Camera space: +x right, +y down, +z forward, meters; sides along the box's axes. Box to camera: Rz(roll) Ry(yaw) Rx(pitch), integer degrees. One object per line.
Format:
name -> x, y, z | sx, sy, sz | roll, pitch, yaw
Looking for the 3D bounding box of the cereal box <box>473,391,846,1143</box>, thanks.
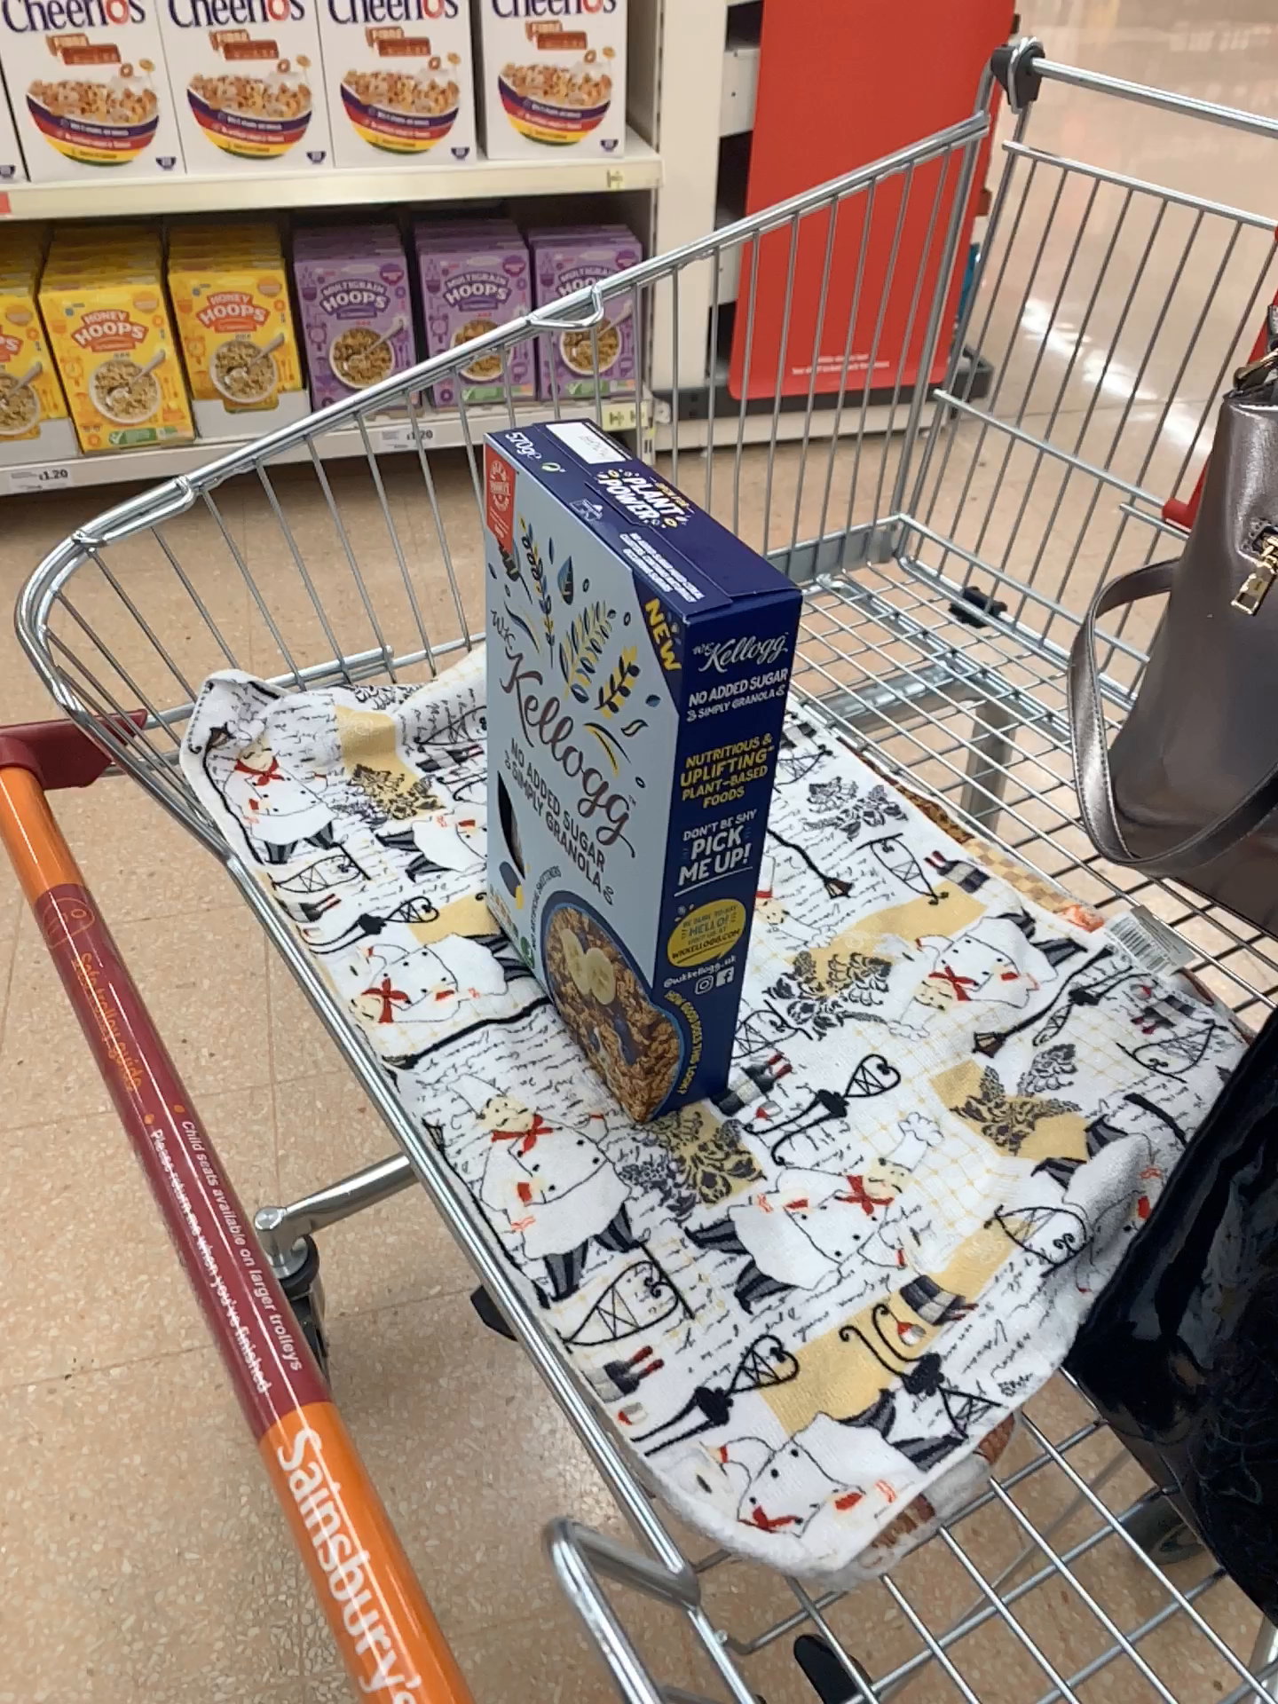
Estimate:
cereal box -> -0.009, -0.032, 0.533 | 0.050, 0.248, 0.171 | -15, 43, -25
